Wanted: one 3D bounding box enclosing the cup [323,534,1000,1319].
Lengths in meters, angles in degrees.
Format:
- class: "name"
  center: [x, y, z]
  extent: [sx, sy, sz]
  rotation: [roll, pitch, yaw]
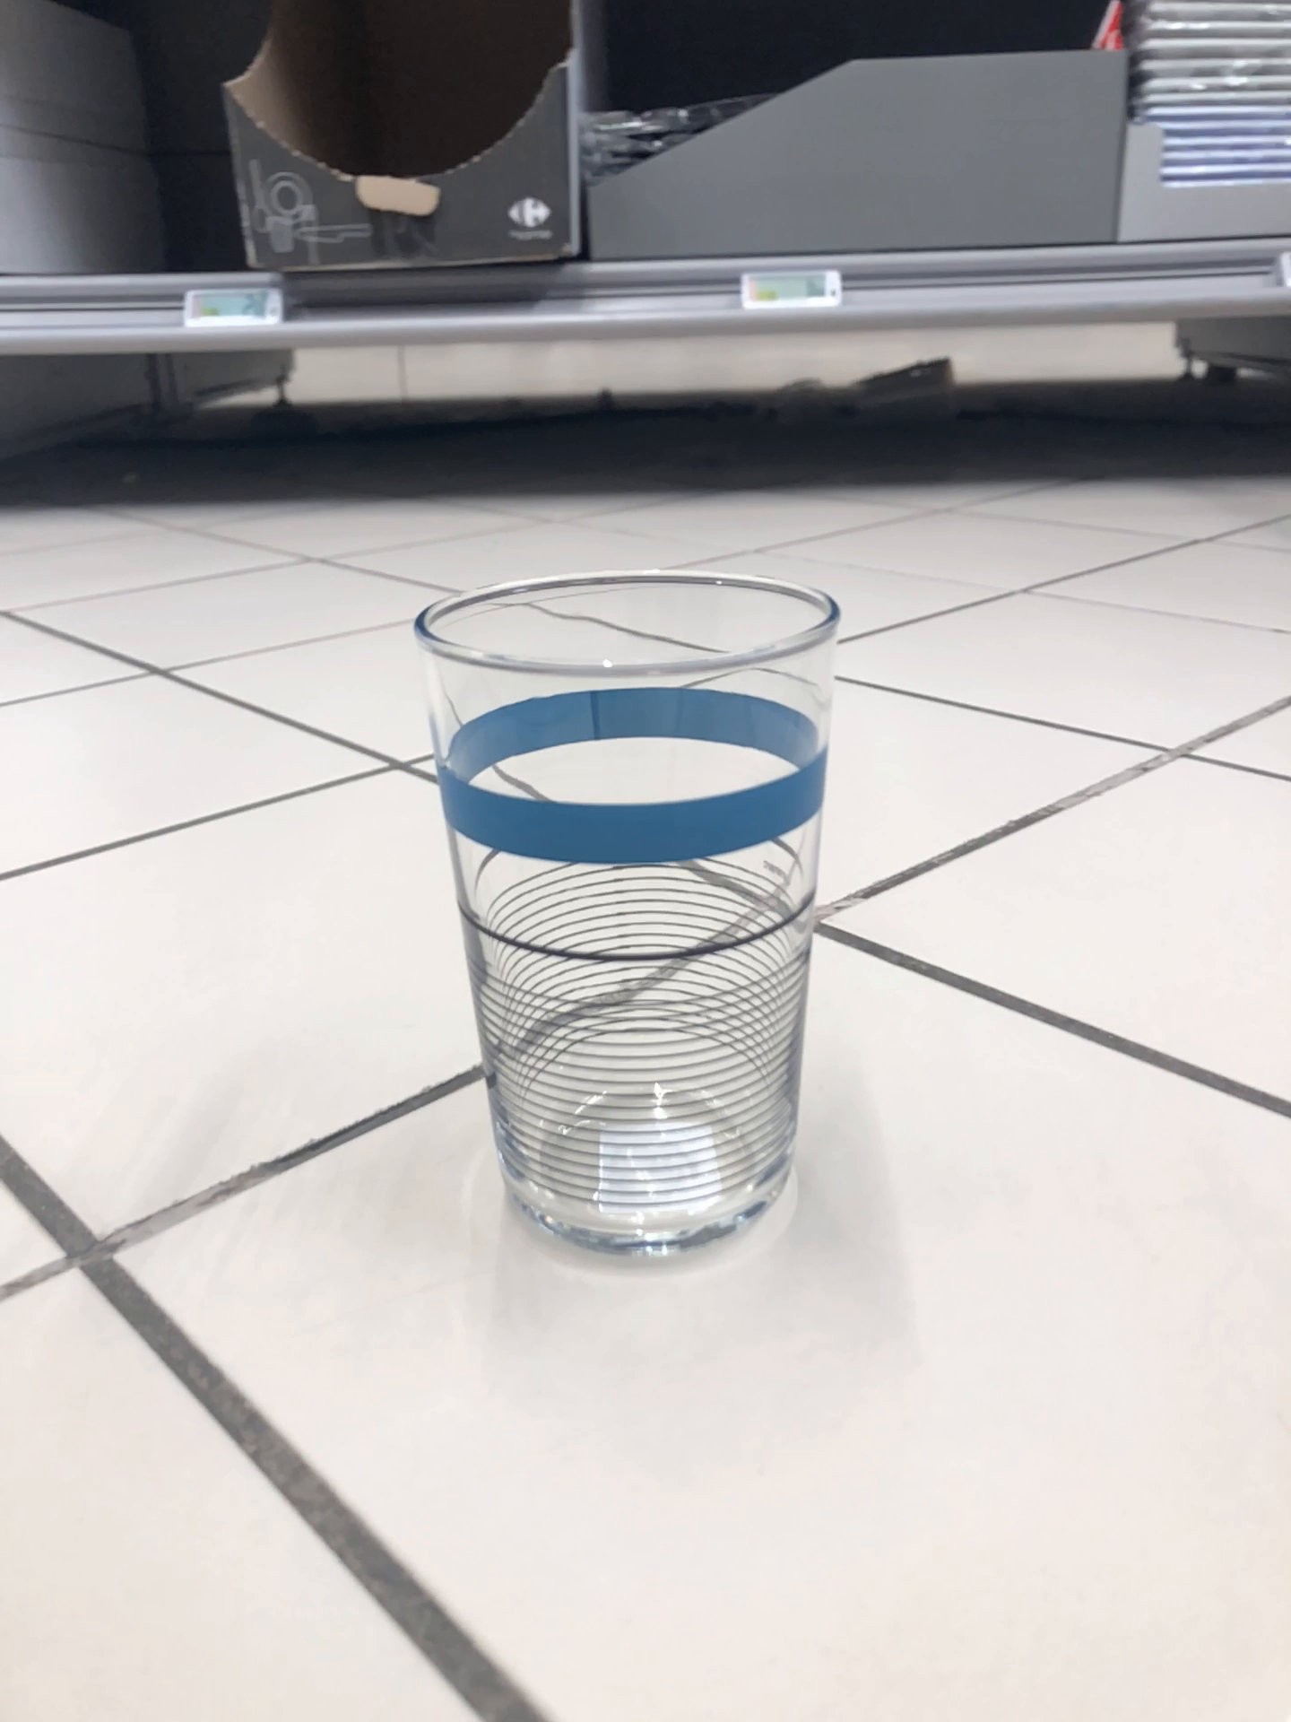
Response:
- class: "cup"
  center: [0.004, 0.002, 0.254]
  extent: [0.080, 0.102, 0.079]
  rotation: [-2, 21, 1]
